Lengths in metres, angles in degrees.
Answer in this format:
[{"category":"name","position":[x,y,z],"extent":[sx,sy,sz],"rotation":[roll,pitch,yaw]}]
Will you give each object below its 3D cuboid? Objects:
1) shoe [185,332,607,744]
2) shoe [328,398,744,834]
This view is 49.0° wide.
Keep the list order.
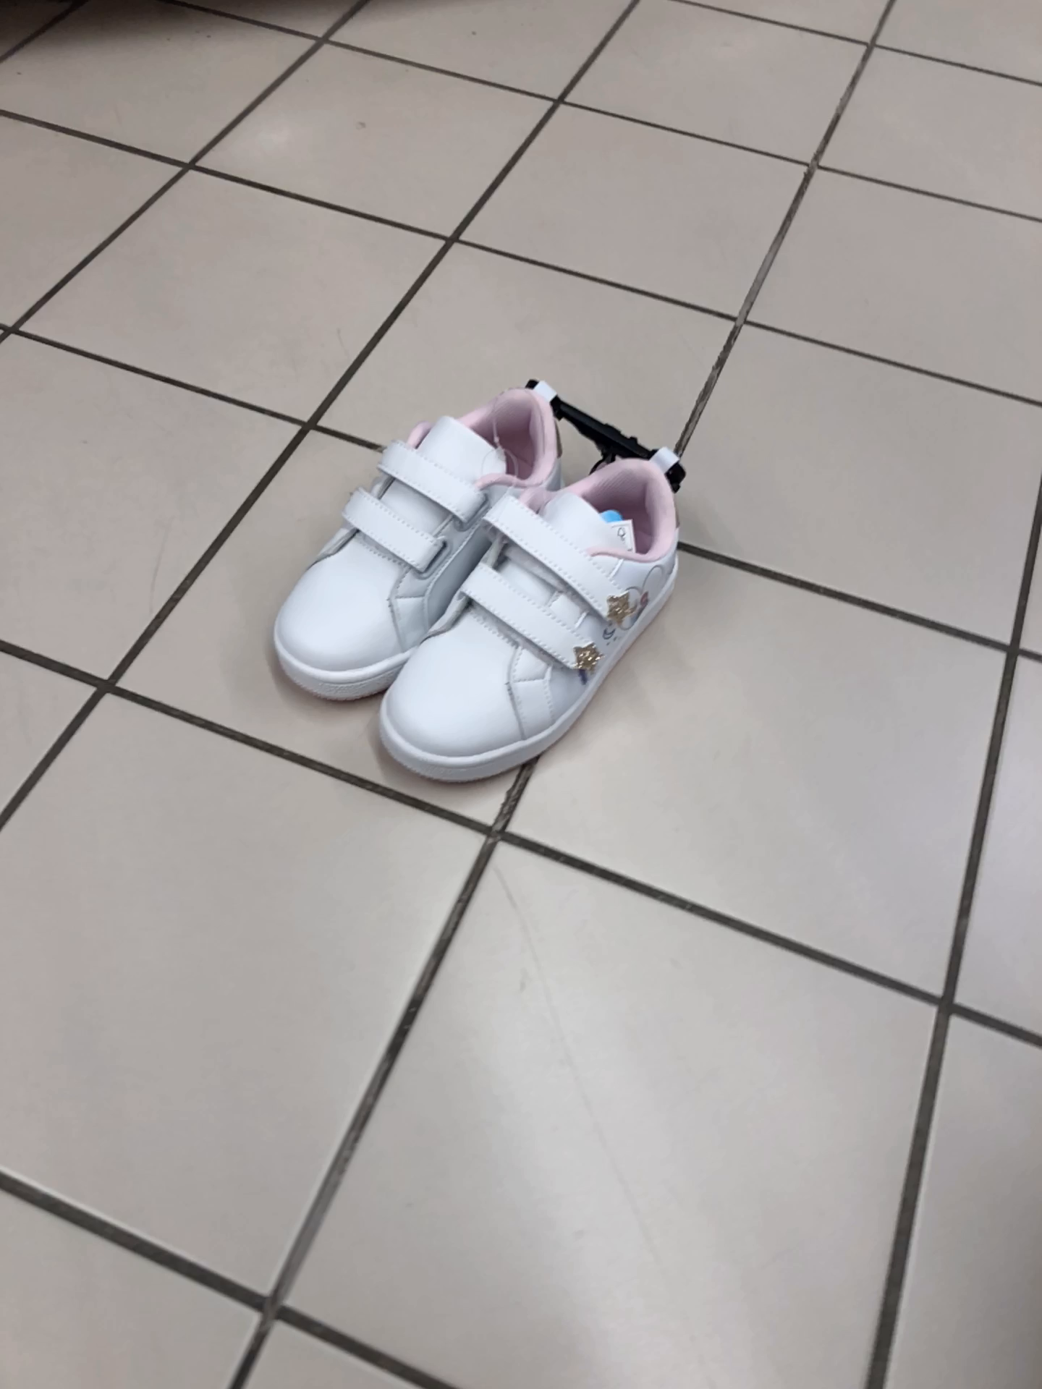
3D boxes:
[{"category":"shoe","position":[-0.052,-0.082,0.550],"extent":[0.080,0.070,0.201],"rotation":[33,59,19]},{"category":"shoe","position":[0.012,-0.043,0.533],"extent":[0.080,0.070,0.201],"rotation":[33,59,19]}]
